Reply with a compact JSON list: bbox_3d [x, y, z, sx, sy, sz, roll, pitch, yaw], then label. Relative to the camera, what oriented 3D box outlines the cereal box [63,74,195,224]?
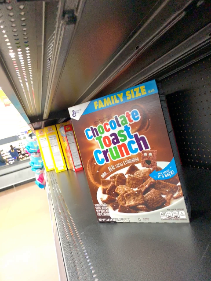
[{"bbox_3d":[0.053,0.036,0.536,0.240,0.320,0.070,-14,4,29],"label":"cereal box"}]
